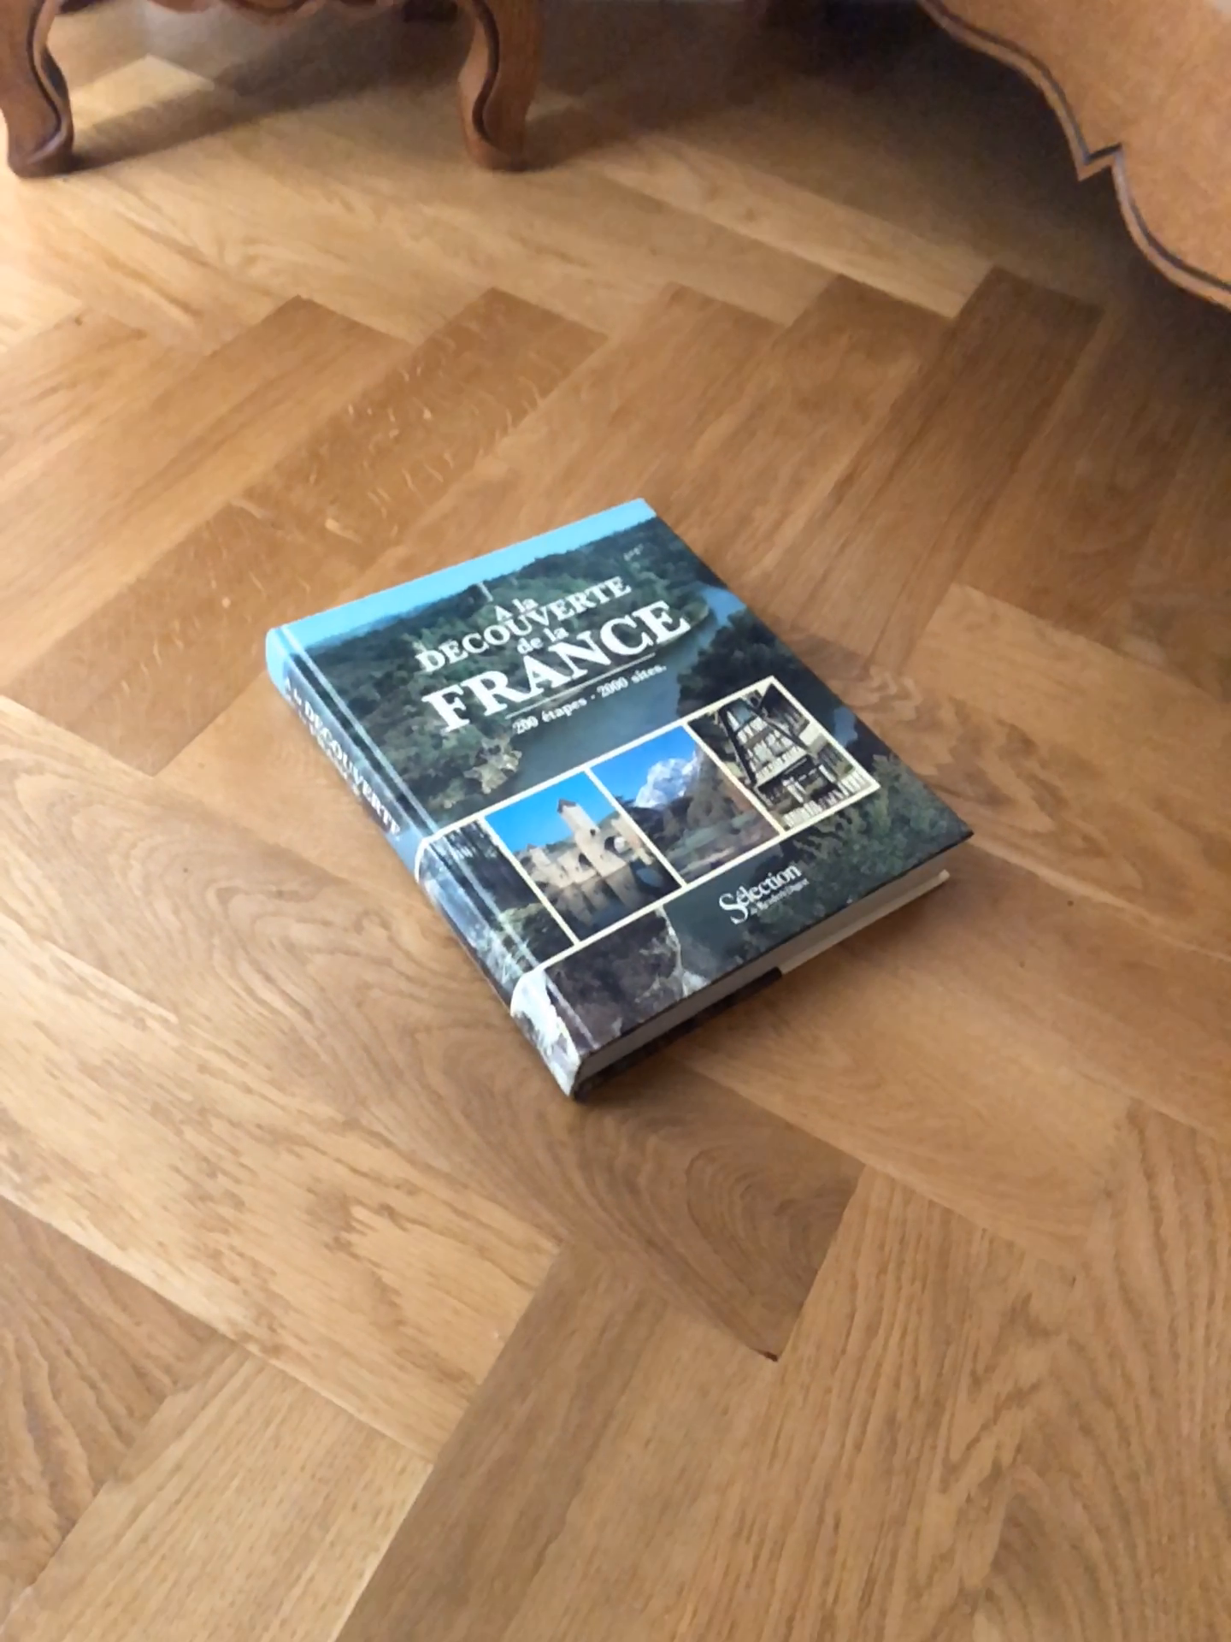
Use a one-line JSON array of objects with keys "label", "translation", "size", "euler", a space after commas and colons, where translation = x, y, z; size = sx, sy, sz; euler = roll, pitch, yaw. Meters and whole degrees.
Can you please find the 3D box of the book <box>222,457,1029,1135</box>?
[{"label": "book", "translation": [0.000, -0.038, 0.633], "size": [0.251, 0.040, 0.290], "euler": [-26, 60, -27]}]
